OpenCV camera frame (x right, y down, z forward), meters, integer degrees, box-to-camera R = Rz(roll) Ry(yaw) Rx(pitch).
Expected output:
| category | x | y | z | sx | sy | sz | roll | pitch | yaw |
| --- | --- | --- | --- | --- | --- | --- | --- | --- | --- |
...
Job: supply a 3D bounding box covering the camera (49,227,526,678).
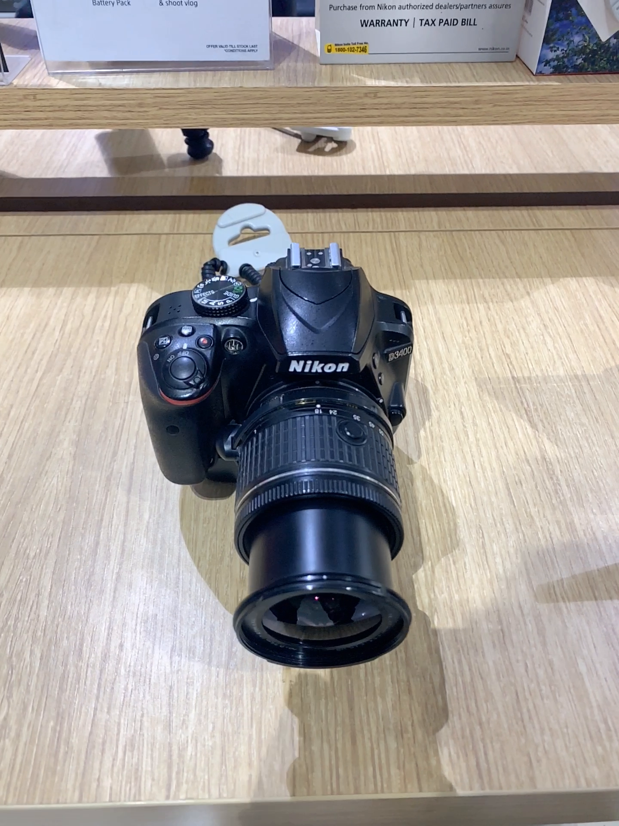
| category | x | y | z | sx | sy | sz | roll | pitch | yaw |
| --- | --- | --- | --- | --- | --- | --- | --- | --- | --- |
| camera | -0.008 | 0.009 | 0.243 | 0.120 | 0.094 | 0.140 | -2 | 46 | -1 |
